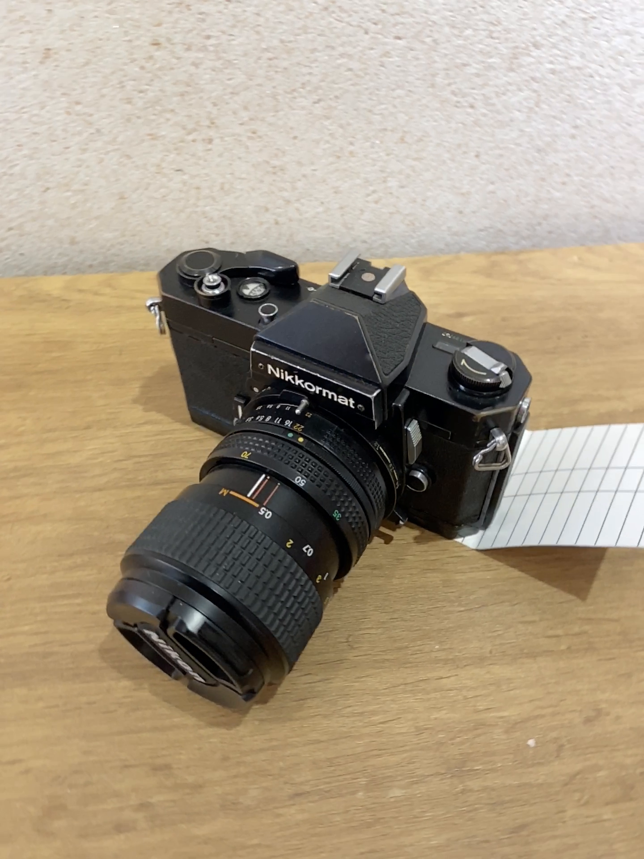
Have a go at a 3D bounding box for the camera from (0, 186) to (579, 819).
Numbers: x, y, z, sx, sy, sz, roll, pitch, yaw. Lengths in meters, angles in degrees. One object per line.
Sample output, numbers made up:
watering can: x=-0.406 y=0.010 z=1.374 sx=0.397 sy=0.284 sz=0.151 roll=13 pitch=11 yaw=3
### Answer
camera: x=-0.024 y=0.007 z=0.232 sx=0.160 sy=0.089 sz=0.141 roll=25 pitch=52 yaw=22
